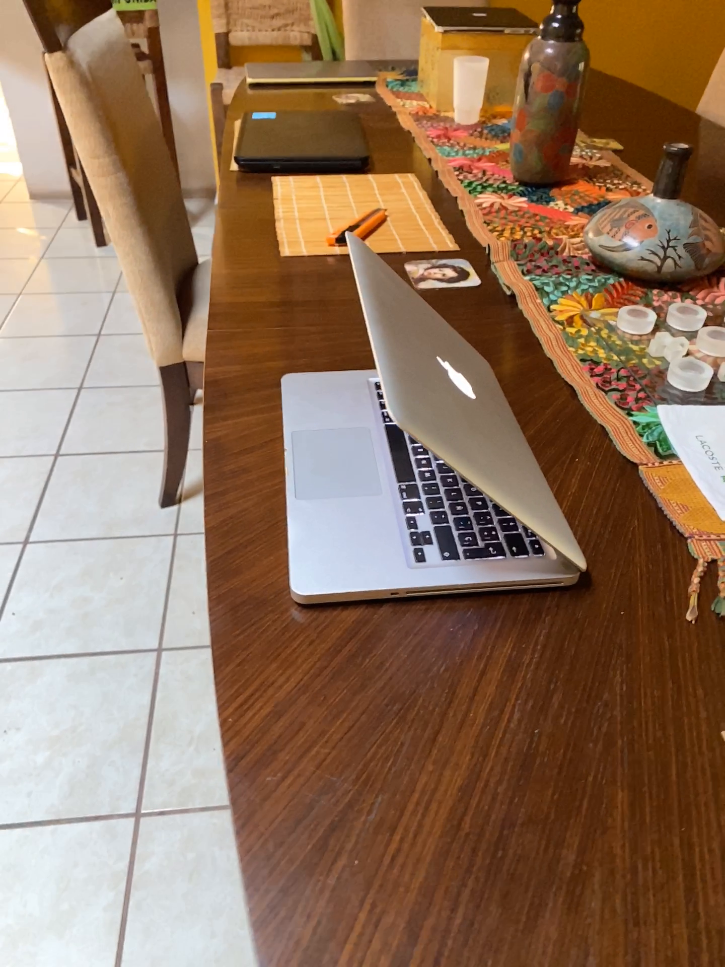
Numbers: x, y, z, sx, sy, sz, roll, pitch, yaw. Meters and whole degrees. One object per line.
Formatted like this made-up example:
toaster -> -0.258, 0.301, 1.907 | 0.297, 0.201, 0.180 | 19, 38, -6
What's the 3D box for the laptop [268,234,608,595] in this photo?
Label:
laptop -> 0.034, -0.082, 0.652 | 0.212, 0.152, 0.323 | -4, 39, -7
